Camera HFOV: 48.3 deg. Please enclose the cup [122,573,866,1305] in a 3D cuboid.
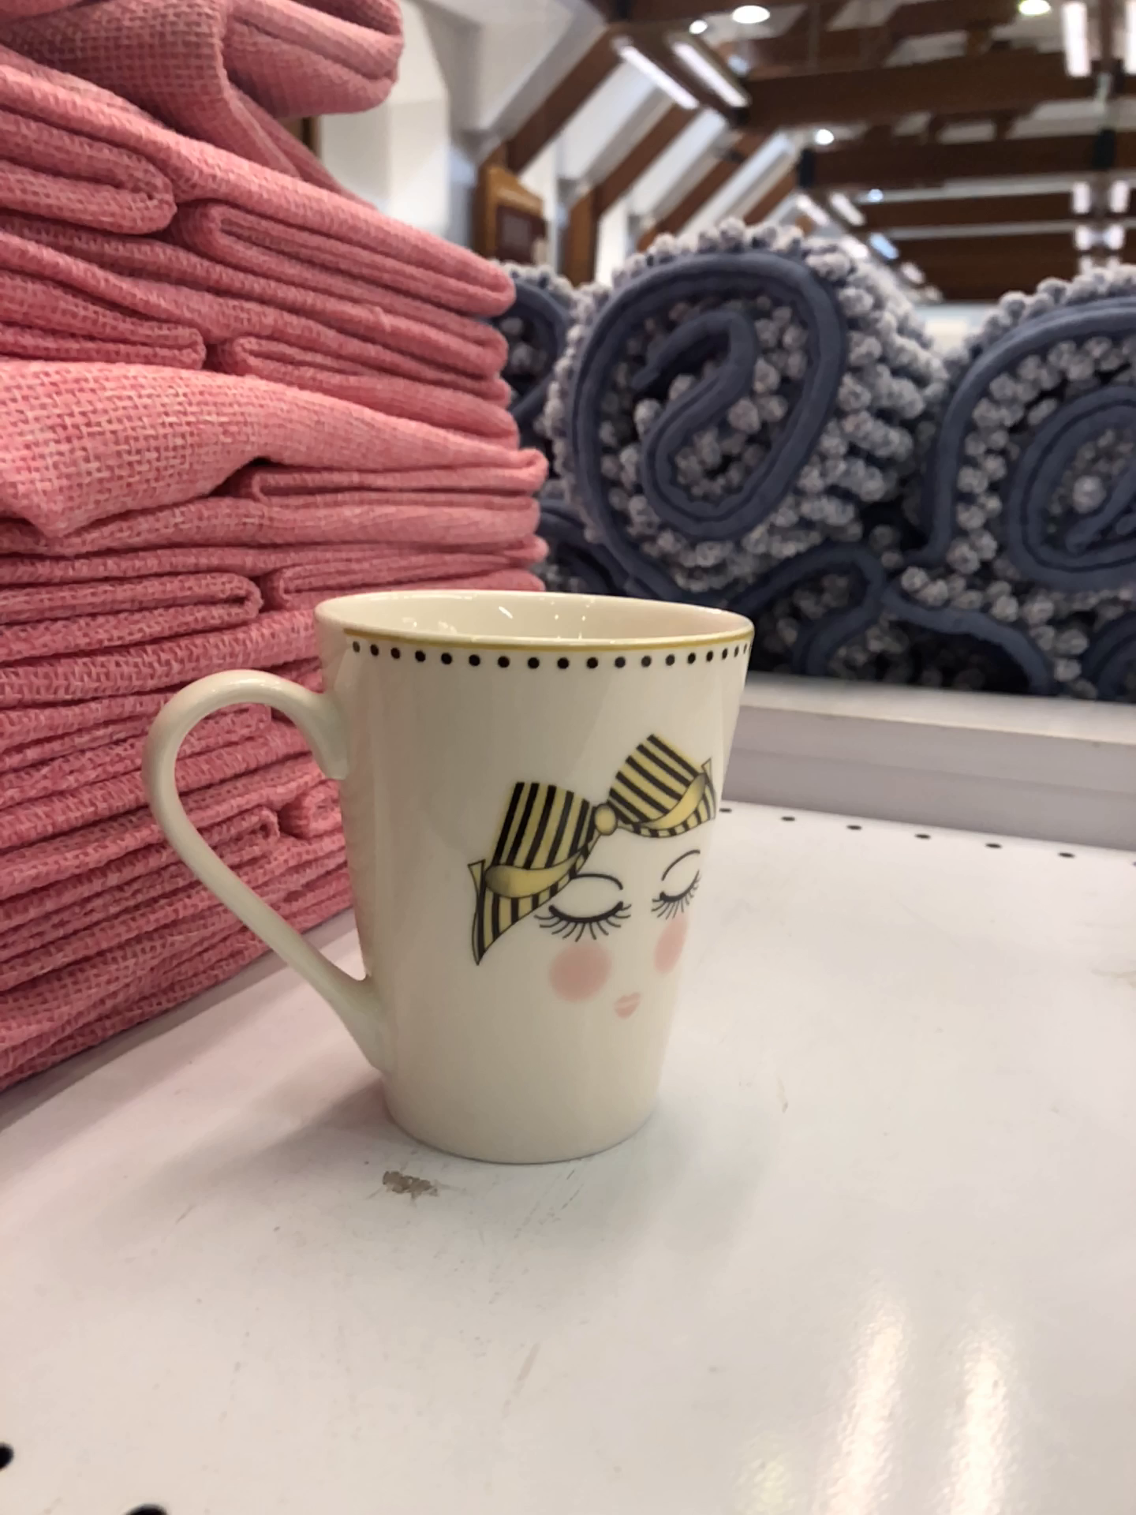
[{"bbox_3d":[-0.017,0.020,0.251,0.110,0.100,0.090,-8,16,-33],"label":"cup"}]
